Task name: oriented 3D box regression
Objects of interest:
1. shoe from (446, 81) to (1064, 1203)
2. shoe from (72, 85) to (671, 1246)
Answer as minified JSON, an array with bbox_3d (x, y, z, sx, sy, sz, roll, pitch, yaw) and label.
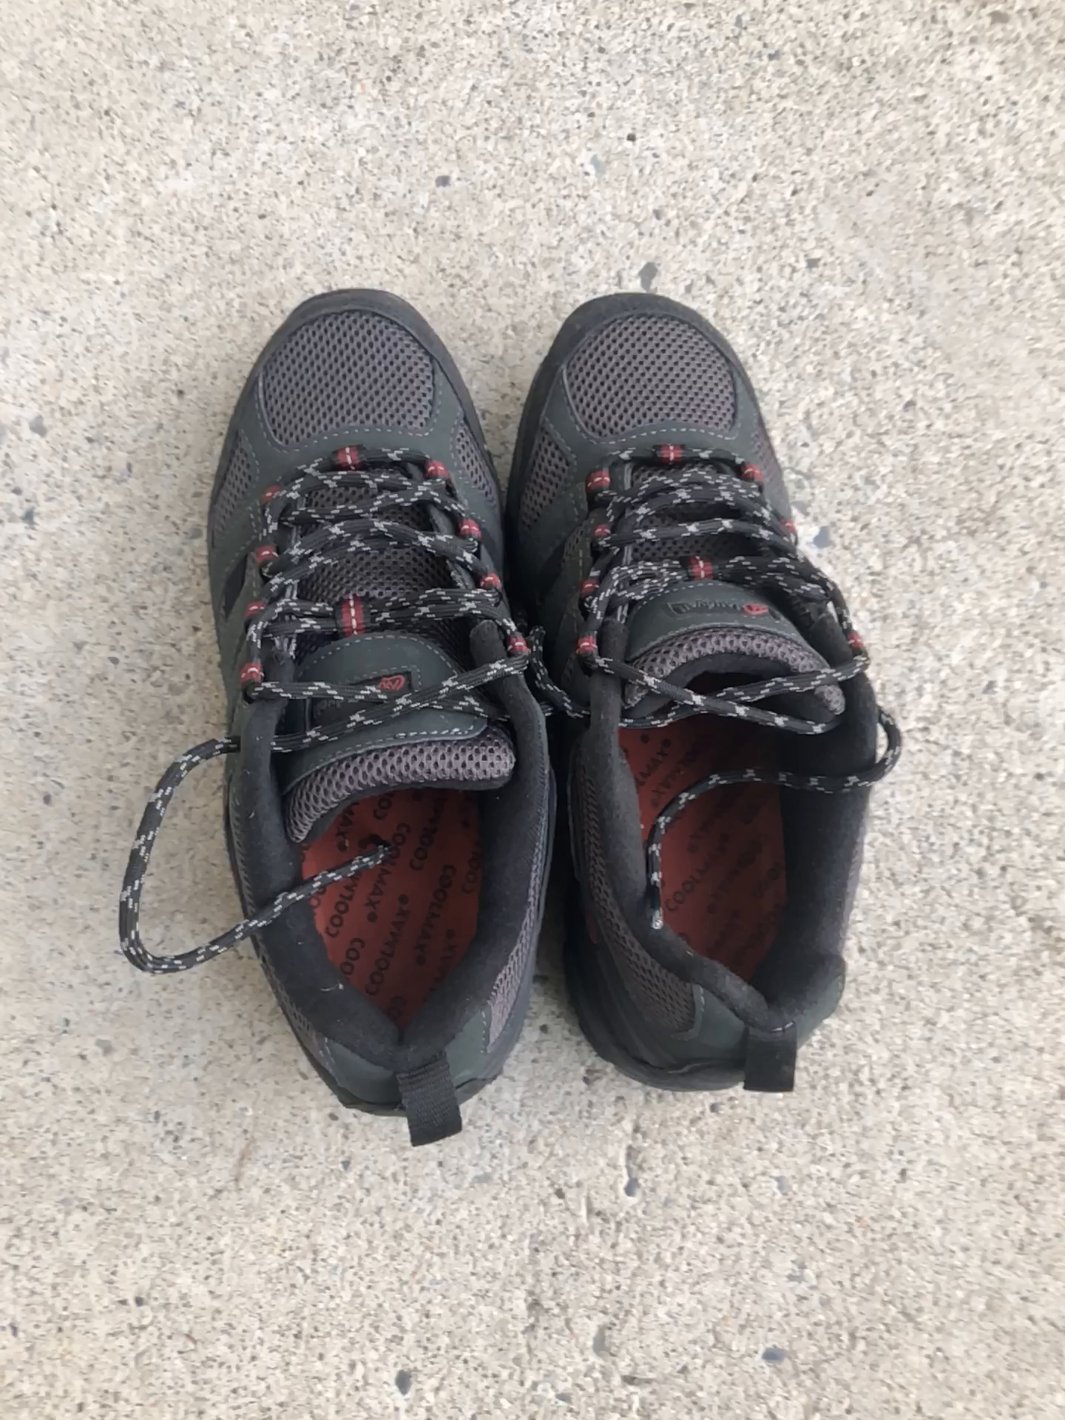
[{"bbox_3d":[0.055,-0.024,0.374,0.120,0.110,0.300,-8,82,-7],"label":"shoe"},{"bbox_3d":[-0.052,-0.018,0.367,0.120,0.110,0.302,-8,82,-7],"label":"shoe"}]
